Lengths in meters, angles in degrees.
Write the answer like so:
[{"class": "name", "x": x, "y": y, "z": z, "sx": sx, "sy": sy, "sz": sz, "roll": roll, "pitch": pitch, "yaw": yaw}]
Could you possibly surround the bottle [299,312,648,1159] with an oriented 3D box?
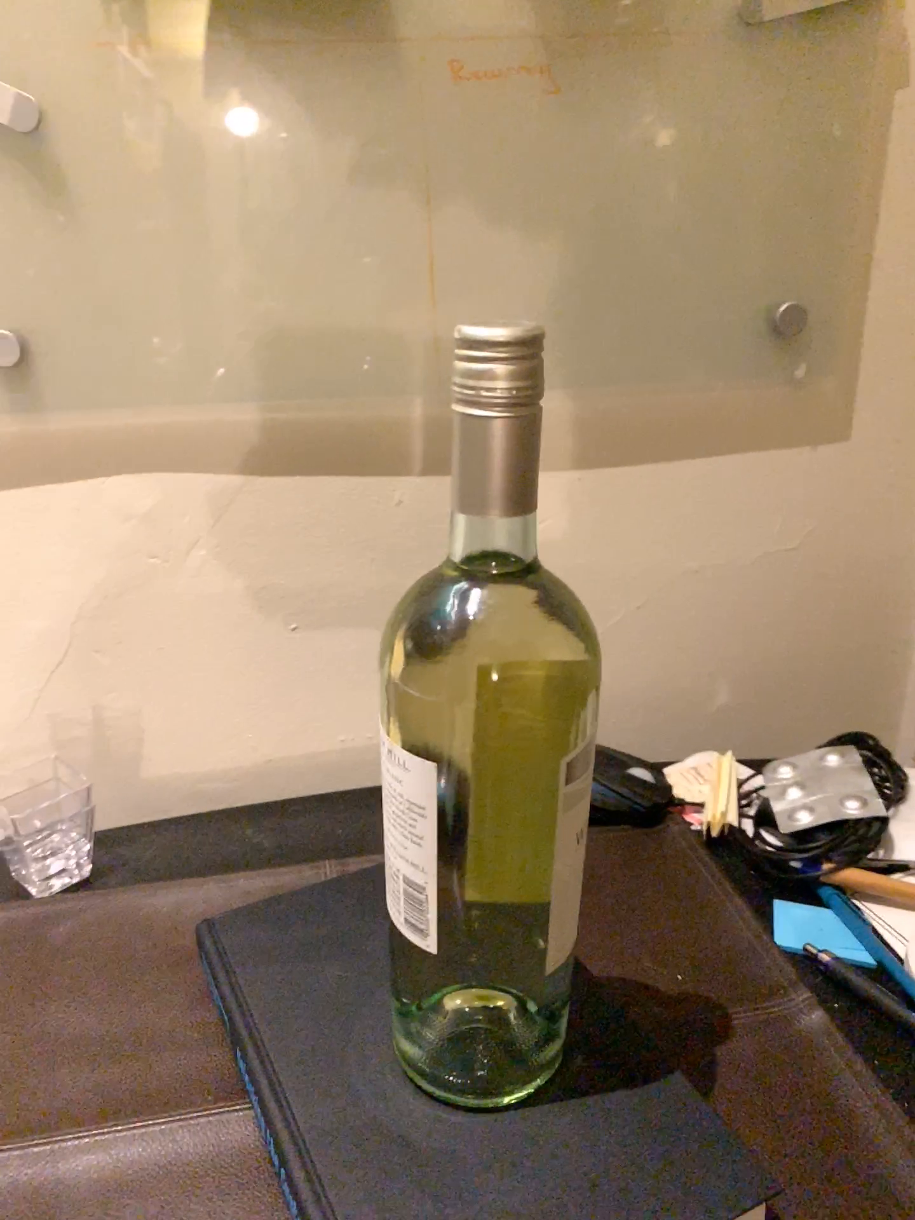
[{"class": "bottle", "x": 0.002, "y": 0.049, "z": 0.356, "sx": 0.090, "sy": 0.298, "sz": 0.090, "roll": -1, "pitch": 22, "yaw": 0}]
